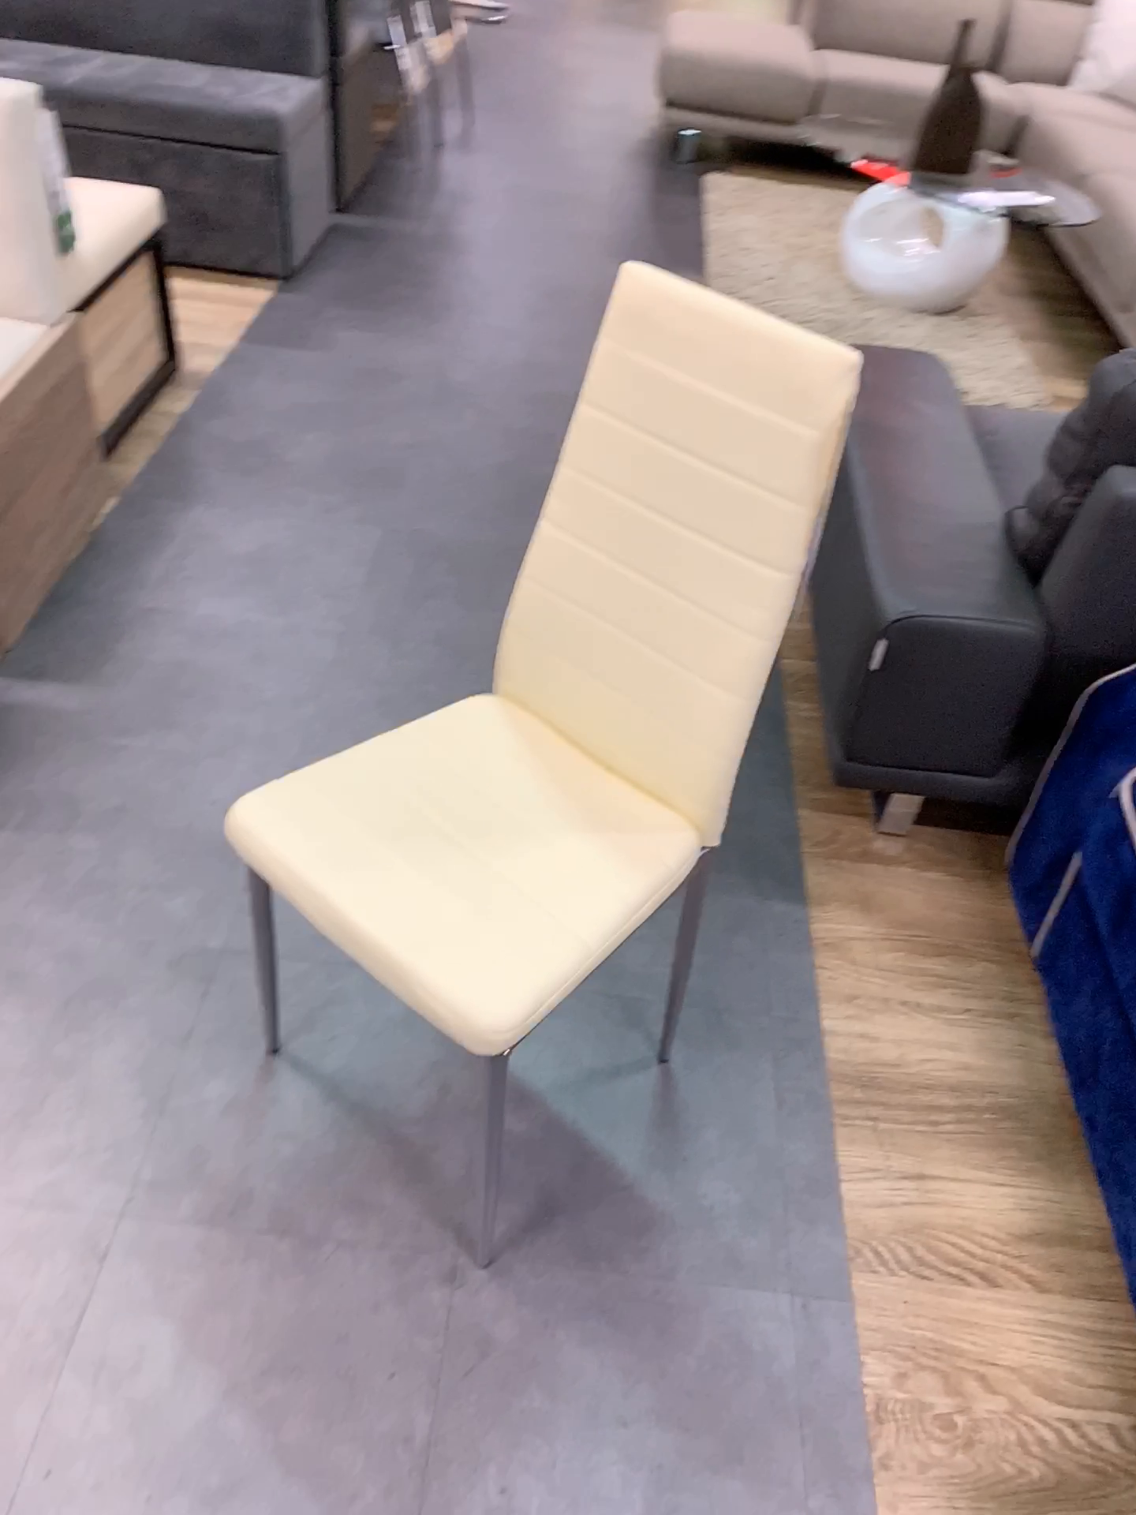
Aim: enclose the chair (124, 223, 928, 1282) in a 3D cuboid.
[{"bbox_3d":[-0.066,0.022,1.246,0.446,0.940,0.479,35,48,28],"label":"chair"}]
